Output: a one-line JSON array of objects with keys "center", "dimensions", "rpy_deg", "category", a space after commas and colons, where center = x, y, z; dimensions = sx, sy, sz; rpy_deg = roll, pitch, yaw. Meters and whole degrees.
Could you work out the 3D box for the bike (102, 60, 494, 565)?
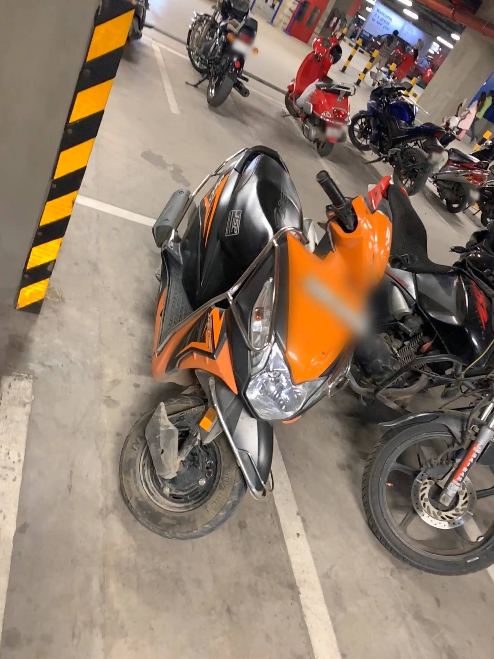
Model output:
[{"center": [0.097, -0.155, 1.992], "dimensions": [0.725, 1.172, 1.613], "rpy_deg": [19, 34, -20], "category": "bike"}]
